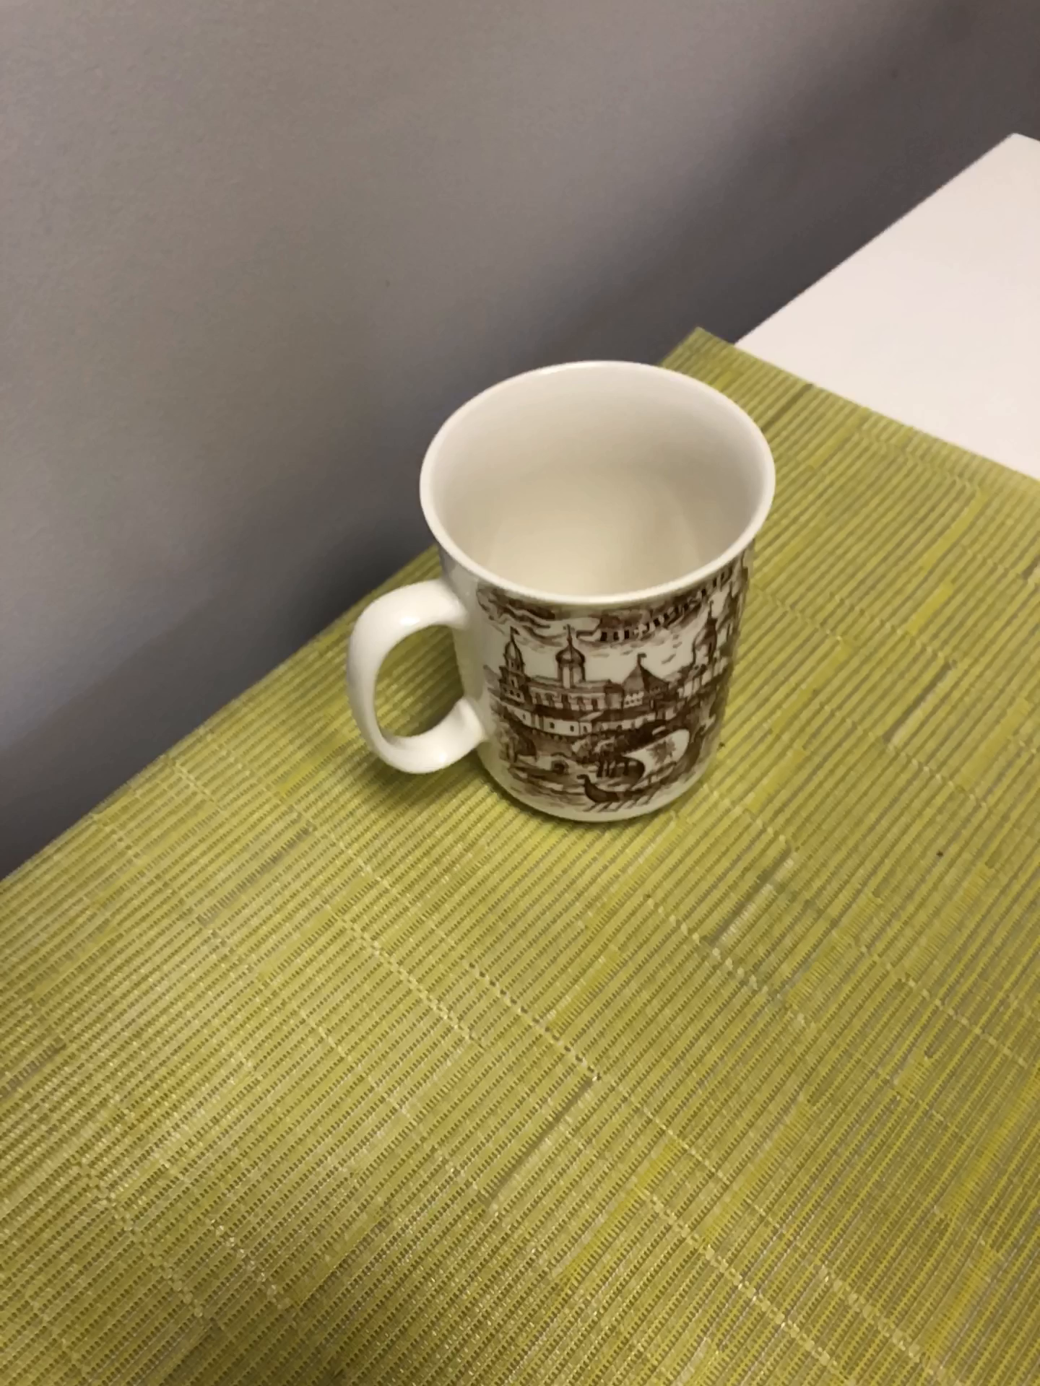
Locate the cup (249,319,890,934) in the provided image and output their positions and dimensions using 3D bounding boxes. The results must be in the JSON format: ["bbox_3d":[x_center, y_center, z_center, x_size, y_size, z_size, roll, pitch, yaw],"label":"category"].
[{"bbox_3d":[0.010,-0.019,0.312,0.124,0.092,0.095,-20,54,-12],"label":"cup"}]
